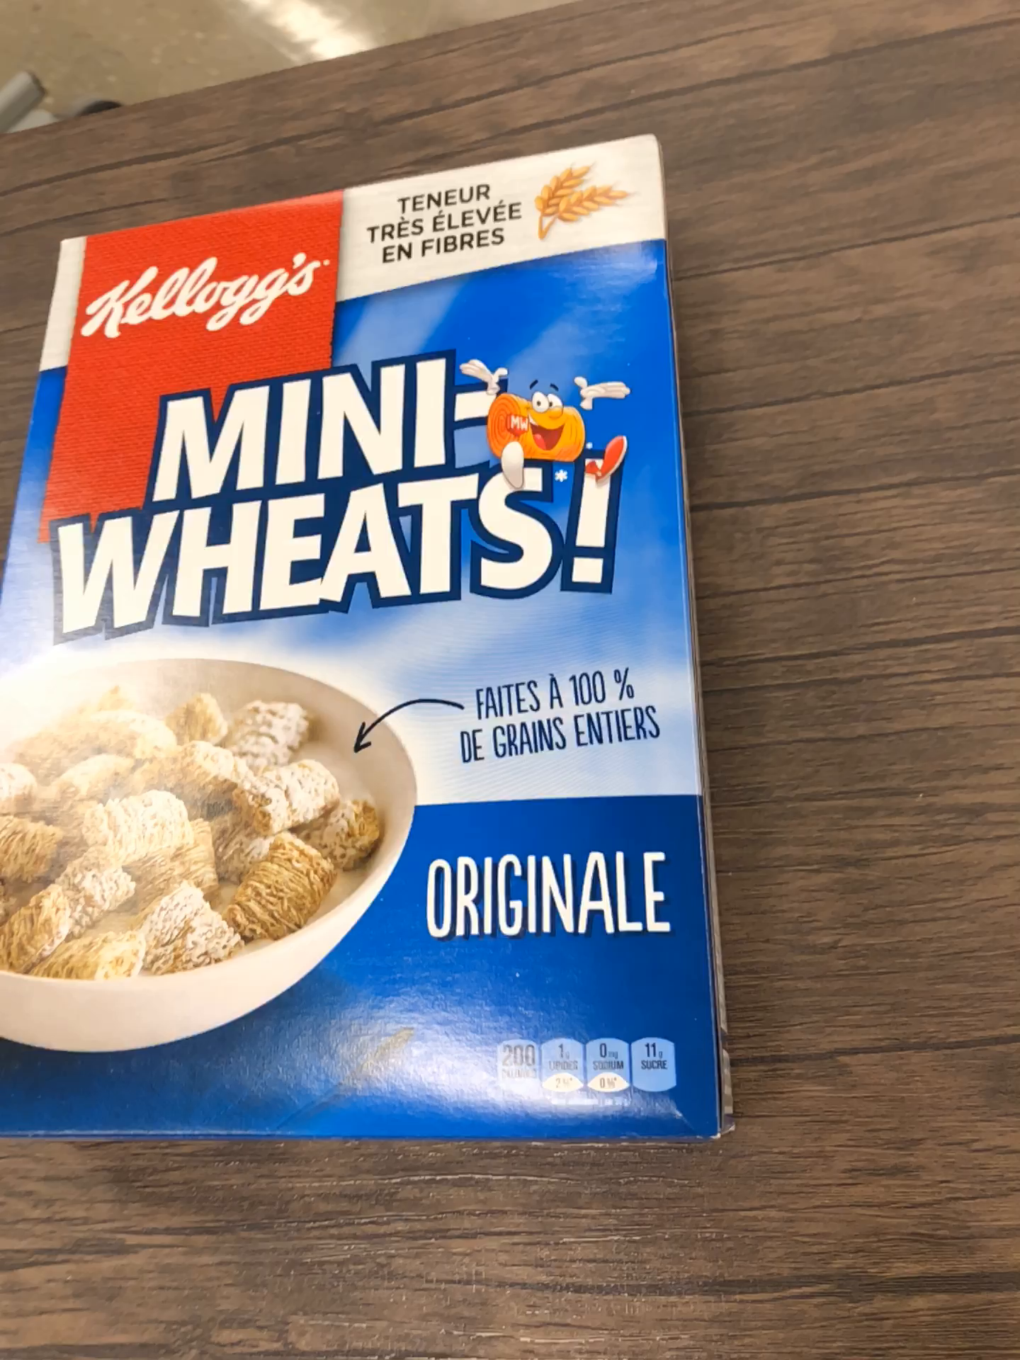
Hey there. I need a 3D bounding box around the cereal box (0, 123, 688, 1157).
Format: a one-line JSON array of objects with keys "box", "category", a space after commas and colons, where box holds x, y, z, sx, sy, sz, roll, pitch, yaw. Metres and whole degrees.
[{"box": [-0.074, -0.014, 0.321, 0.230, 0.060, 0.270, -4, 67, 12], "category": "cereal box"}]
